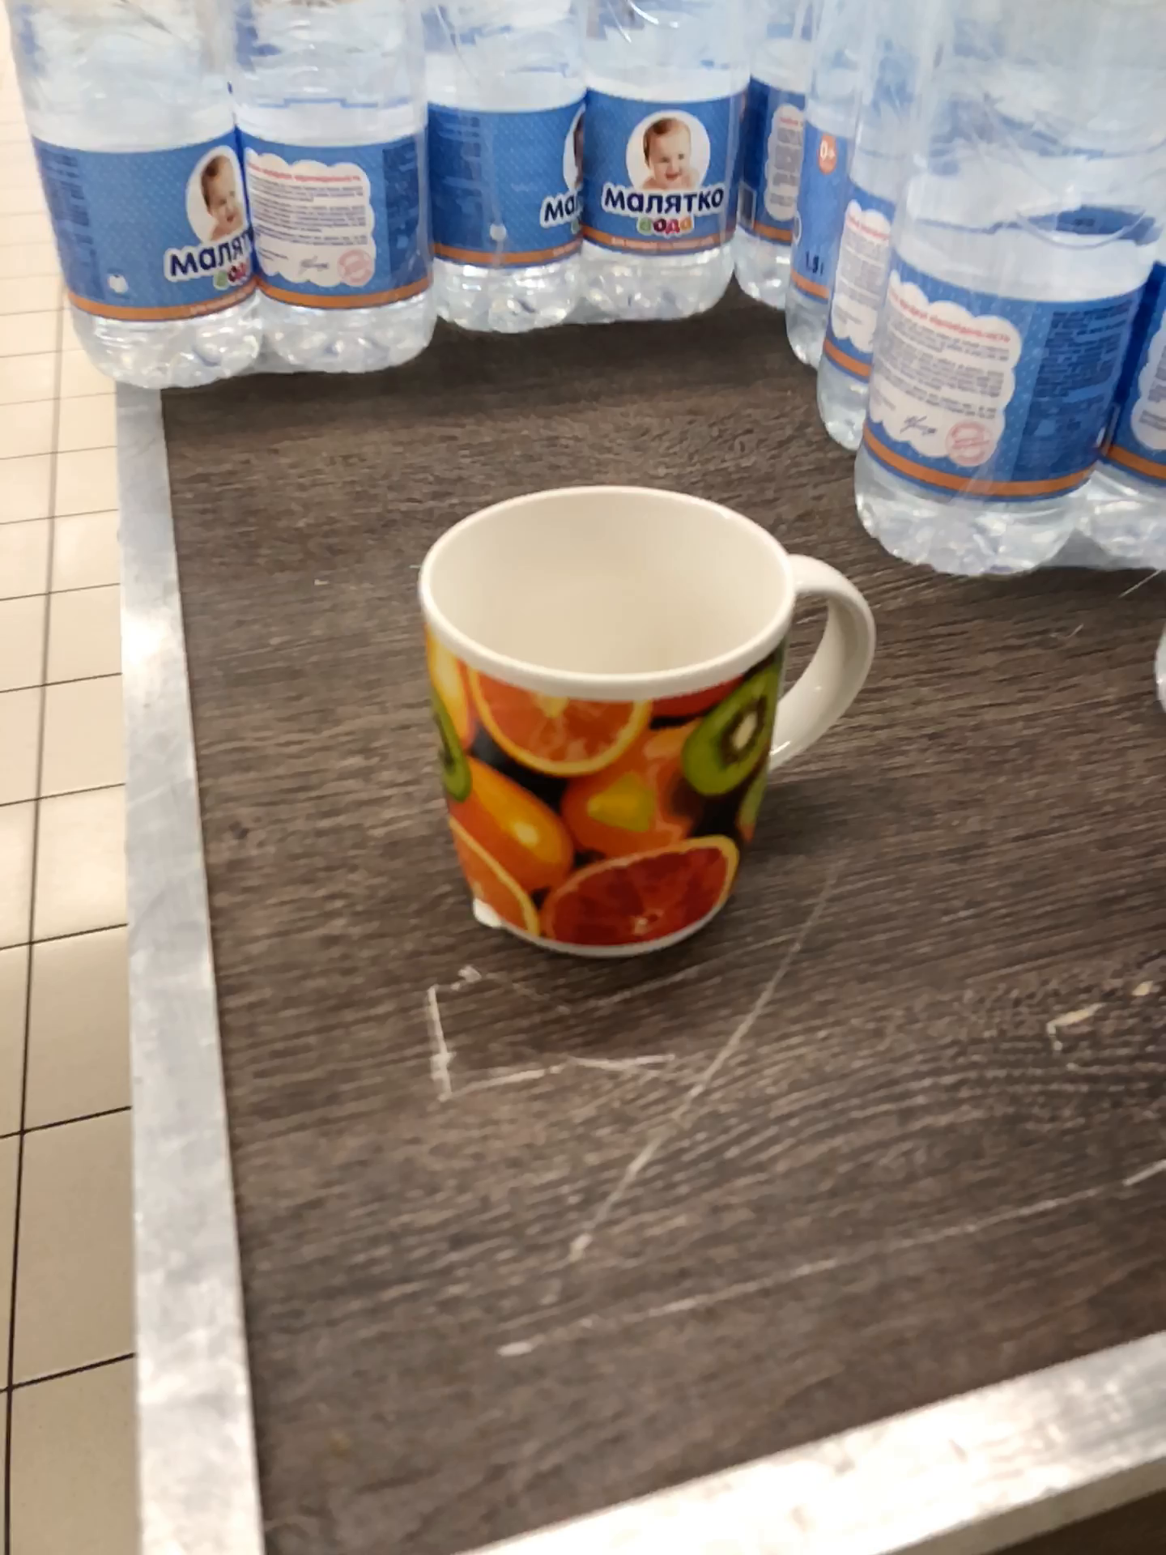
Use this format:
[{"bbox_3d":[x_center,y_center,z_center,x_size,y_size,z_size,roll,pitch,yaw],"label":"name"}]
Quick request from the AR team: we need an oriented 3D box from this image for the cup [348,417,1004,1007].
[{"bbox_3d":[0.019,-0.023,0.327,0.126,0.085,0.091,-18,43,-21],"label":"cup"}]
